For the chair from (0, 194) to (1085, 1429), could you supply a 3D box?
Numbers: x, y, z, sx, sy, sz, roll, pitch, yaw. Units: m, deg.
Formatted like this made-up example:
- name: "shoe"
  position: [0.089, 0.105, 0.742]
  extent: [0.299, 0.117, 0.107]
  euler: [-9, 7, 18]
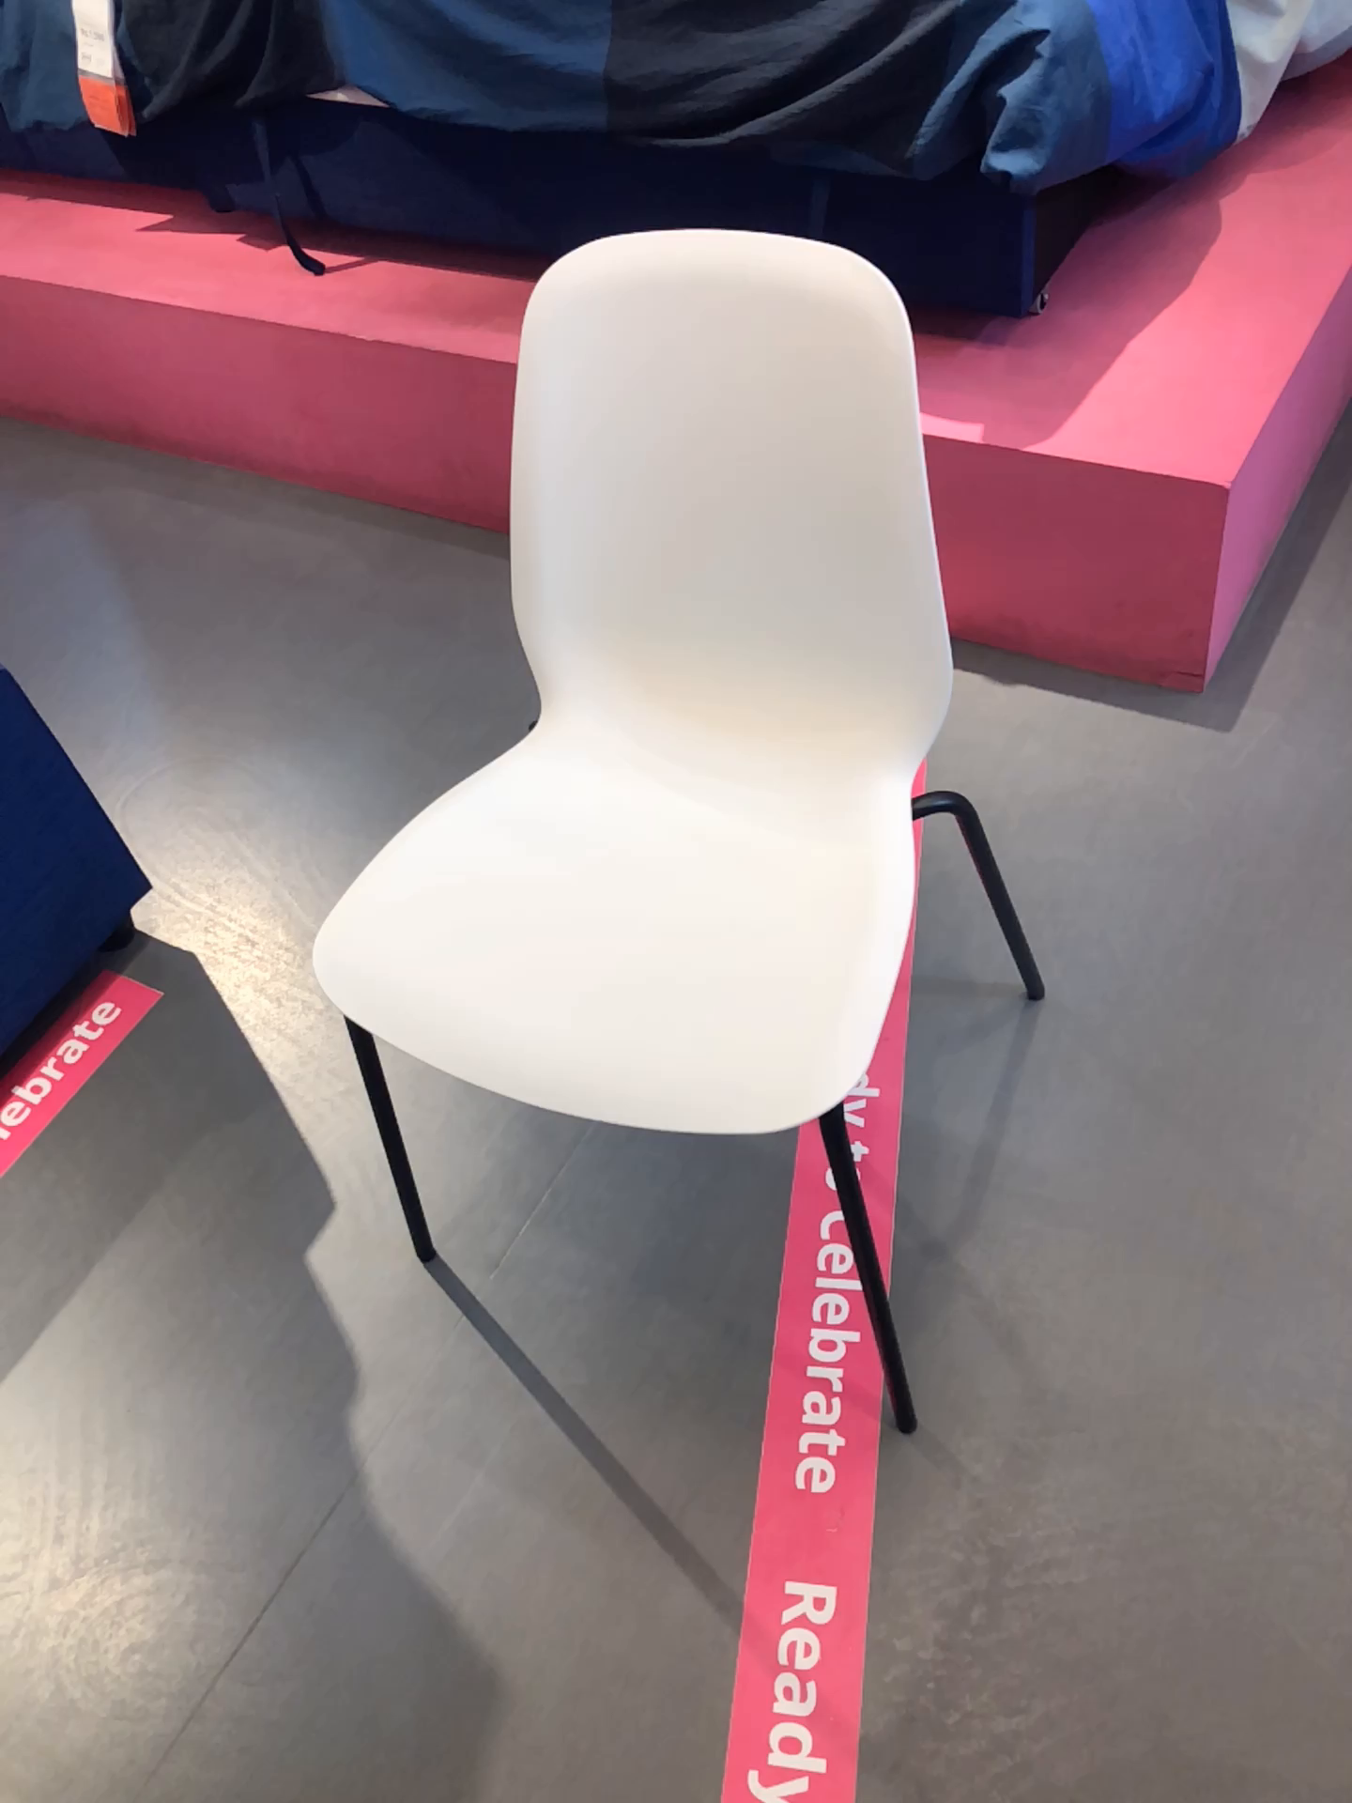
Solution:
- name: "chair"
  position: [-0.014, -0.051, 1.155]
  extent: [0.511, 0.755, 0.492]
  euler: [13, 54, 23]
